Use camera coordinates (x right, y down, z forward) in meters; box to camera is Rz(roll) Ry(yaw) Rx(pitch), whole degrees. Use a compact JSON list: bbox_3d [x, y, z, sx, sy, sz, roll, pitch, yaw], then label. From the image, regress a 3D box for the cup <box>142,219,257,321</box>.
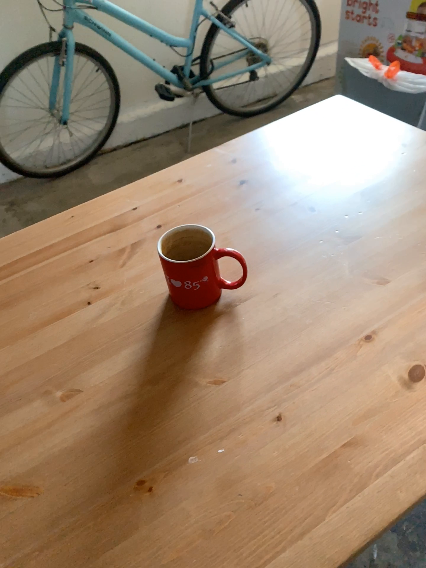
[{"bbox_3d":[-0.014,-0.022,0.627,0.130,0.090,0.100,6,48,15],"label":"cup"}]
